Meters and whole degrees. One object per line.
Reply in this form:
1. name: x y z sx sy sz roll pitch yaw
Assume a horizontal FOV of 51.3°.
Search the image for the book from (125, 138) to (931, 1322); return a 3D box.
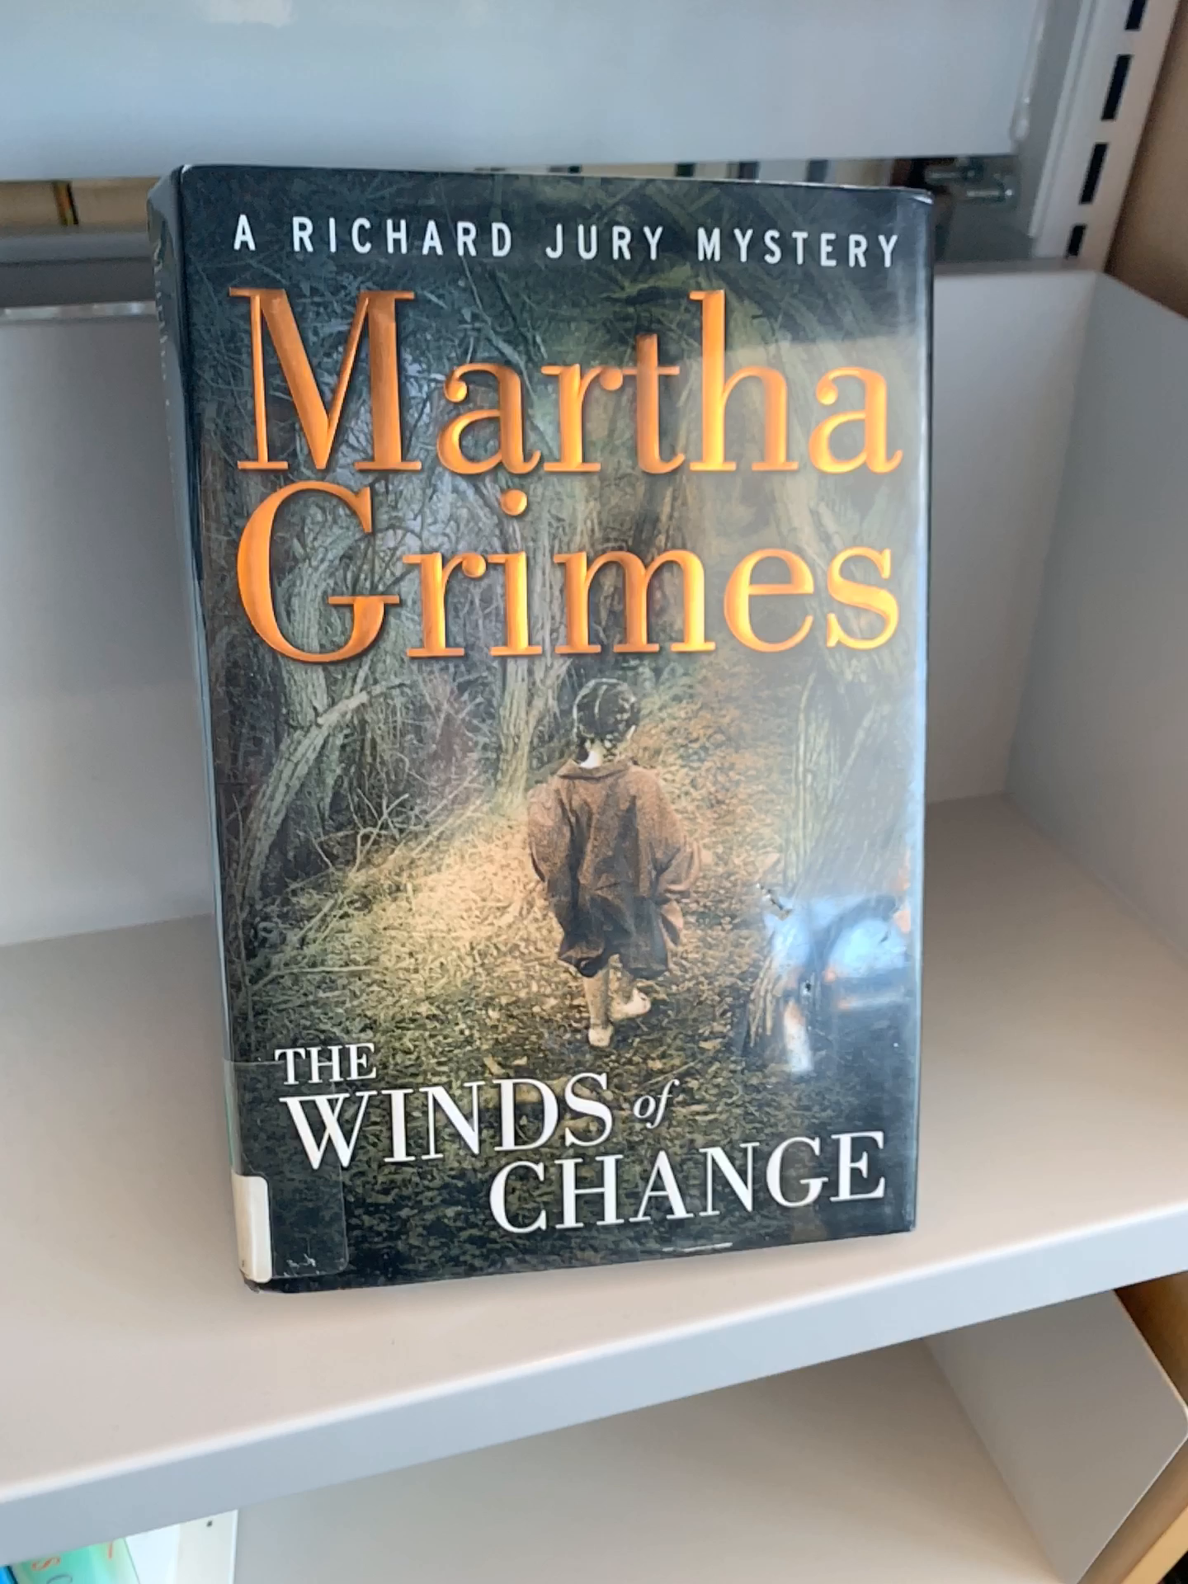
1. book: -0.009 -0.012 0.288 0.160 0.244 0.050 -3 9 -7
